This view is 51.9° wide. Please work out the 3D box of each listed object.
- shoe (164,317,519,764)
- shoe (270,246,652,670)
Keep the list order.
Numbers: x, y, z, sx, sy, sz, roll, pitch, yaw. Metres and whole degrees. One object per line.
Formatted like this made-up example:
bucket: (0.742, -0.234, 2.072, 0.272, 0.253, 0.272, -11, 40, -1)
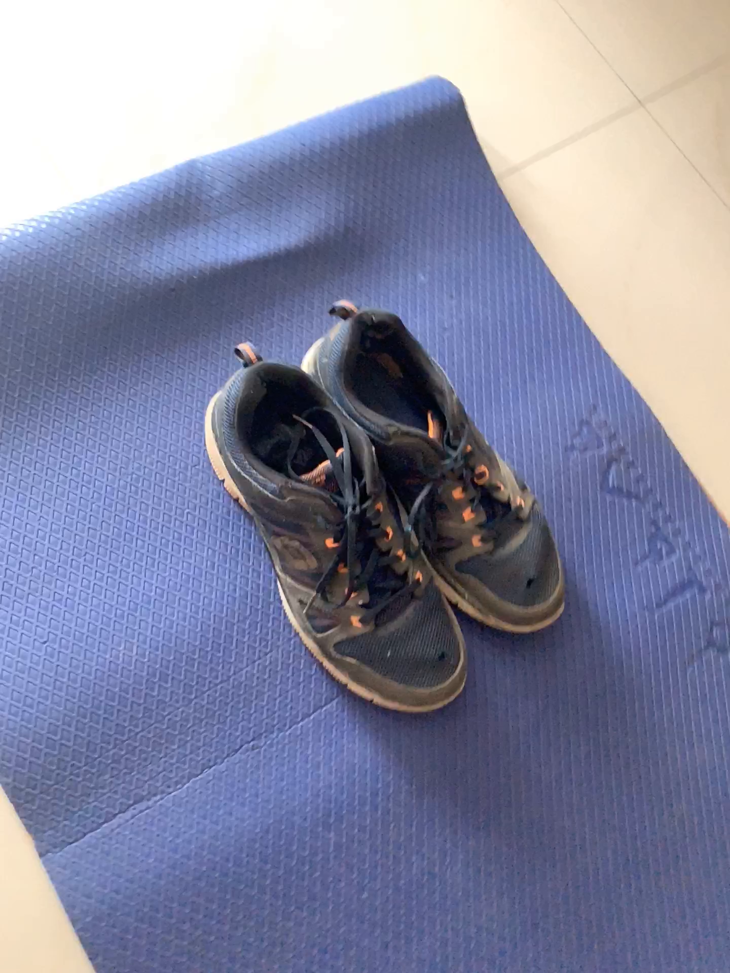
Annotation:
shoe: (-0.029, 0.042, 0.580, 0.100, 0.100, 0.320, -29, 82, -24)
shoe: (0.064, -0.018, 0.592, 0.110, 0.100, 0.310, -35, 84, -18)
